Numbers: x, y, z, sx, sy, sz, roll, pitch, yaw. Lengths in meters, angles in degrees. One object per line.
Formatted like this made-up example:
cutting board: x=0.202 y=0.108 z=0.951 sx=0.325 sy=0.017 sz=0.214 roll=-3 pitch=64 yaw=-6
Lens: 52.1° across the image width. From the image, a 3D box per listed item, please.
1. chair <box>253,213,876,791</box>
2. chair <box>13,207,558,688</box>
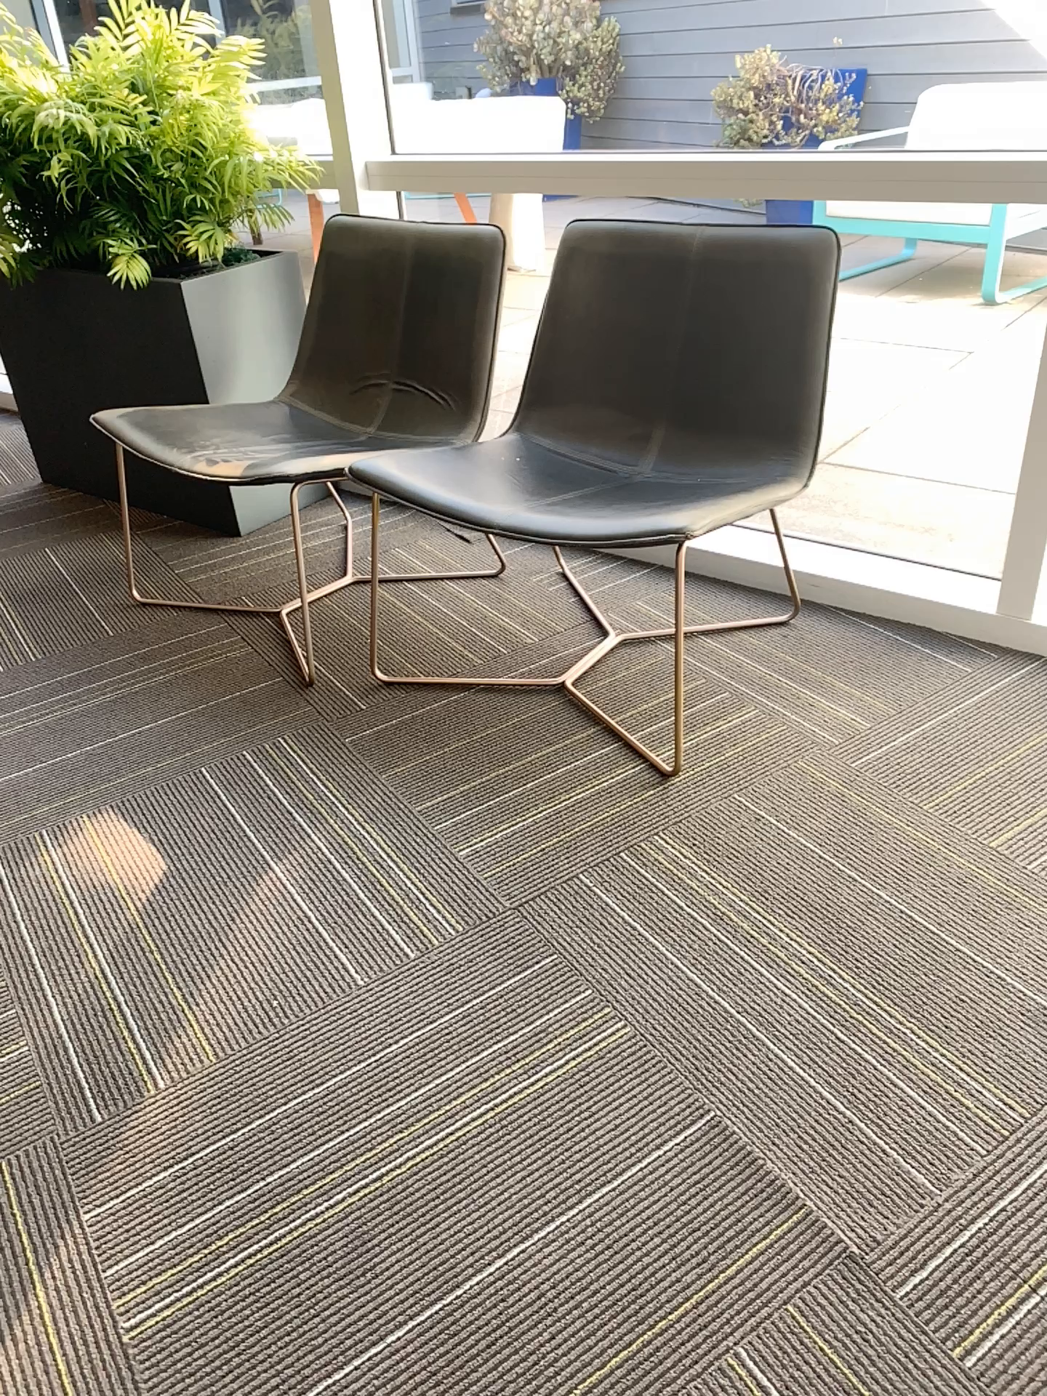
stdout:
chair: x=0.104 y=-0.400 z=1.822 sx=0.702 sy=0.676 sz=0.692 roll=16 pitch=37 yaw=30
chair: x=-0.439 y=-0.563 z=2.169 sx=0.703 sy=0.676 sz=0.691 roll=23 pitch=41 yaw=37
